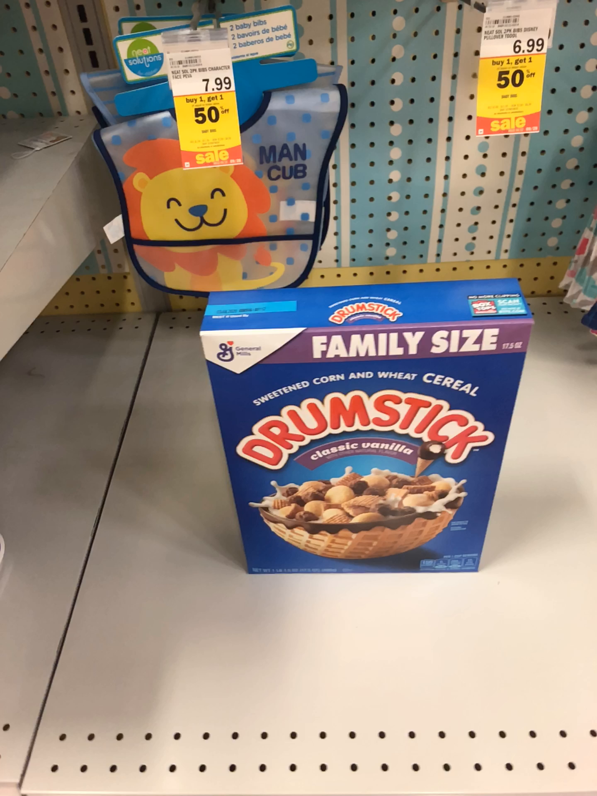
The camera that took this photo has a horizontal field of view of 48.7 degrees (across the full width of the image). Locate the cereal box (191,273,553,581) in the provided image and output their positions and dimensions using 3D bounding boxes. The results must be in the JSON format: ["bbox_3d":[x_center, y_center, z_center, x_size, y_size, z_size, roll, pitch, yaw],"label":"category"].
[{"bbox_3d":[0.060,0.045,0.582,0.250,0.299,0.070,-2,41,4],"label":"cereal box"}]
